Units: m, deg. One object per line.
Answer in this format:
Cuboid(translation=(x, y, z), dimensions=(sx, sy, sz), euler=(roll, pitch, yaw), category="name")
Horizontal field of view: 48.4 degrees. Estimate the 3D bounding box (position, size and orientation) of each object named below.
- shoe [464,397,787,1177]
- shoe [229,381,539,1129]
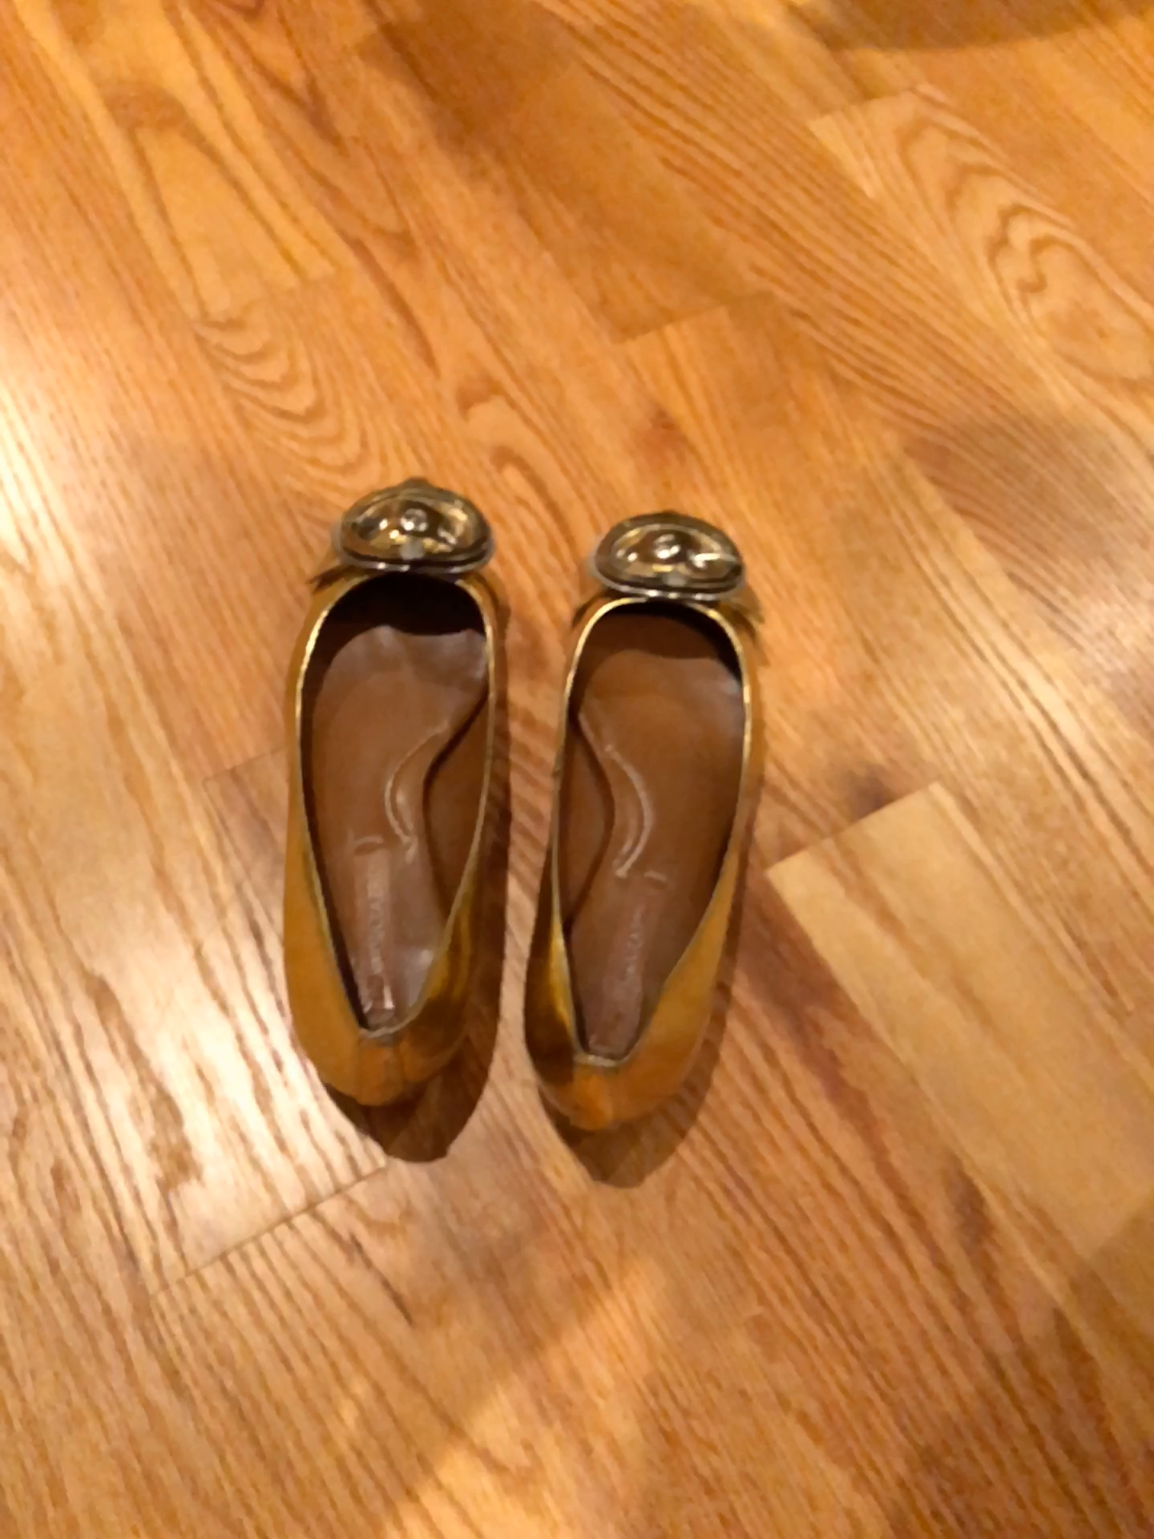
Cuboid(translation=(0.020, -0.003, 0.429), dimensions=(0.077, 0.066, 0.250), euler=(8, 63, -1), category="shoe")
Cuboid(translation=(-0.063, -0.013, 0.428), dimensions=(0.083, 0.066, 0.245), euler=(-2, 63, -6), category="shoe")
